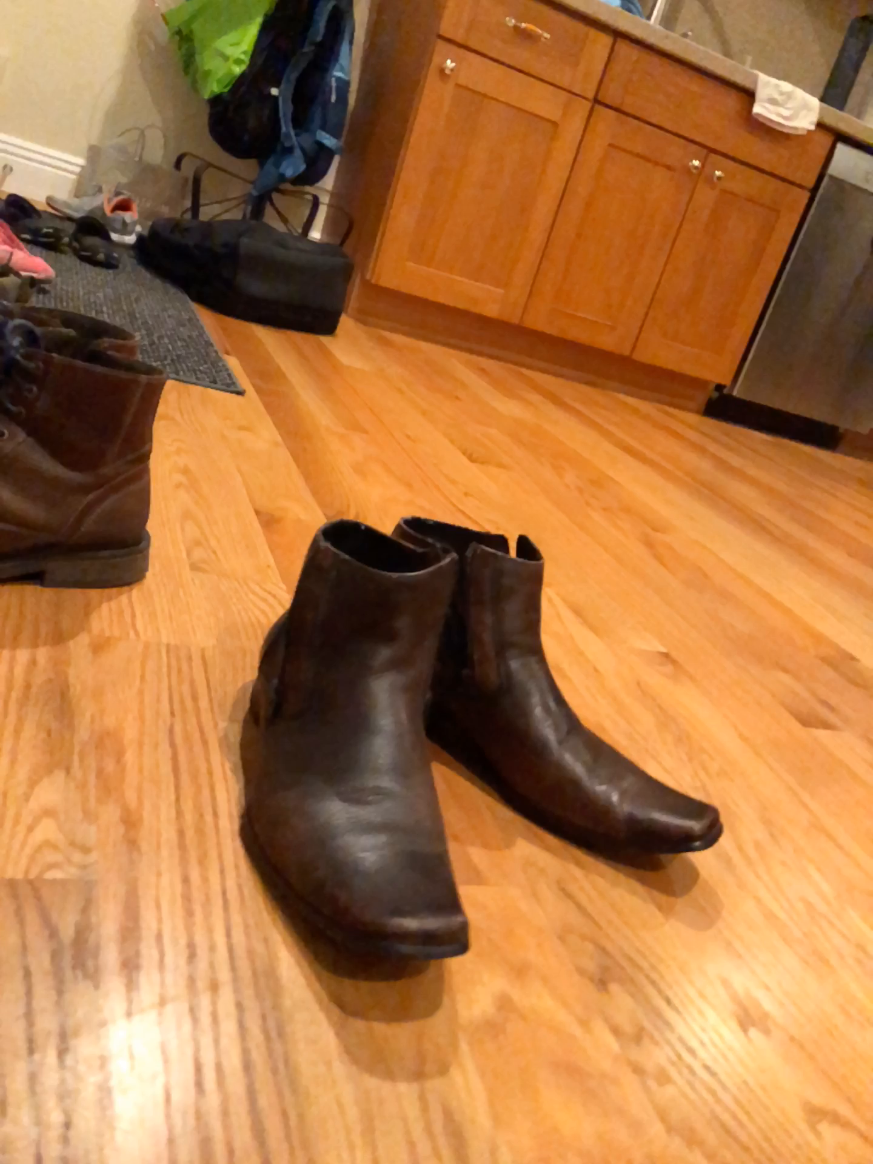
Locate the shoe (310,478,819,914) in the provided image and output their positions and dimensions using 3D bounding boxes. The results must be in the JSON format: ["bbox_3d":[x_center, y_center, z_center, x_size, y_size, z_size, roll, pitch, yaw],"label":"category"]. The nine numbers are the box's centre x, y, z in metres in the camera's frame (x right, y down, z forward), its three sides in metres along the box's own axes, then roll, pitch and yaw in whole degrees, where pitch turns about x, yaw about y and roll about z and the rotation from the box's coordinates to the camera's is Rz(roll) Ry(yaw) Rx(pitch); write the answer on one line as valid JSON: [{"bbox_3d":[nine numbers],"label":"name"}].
[{"bbox_3d":[0.077,0.060,0.665,0.300,0.152,0.109,29,22,26],"label":"shoe"}]

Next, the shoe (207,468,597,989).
[{"bbox_3d":[-0.045,0.061,0.544,0.109,0.142,0.291,9,22,-24],"label":"shoe"}]
